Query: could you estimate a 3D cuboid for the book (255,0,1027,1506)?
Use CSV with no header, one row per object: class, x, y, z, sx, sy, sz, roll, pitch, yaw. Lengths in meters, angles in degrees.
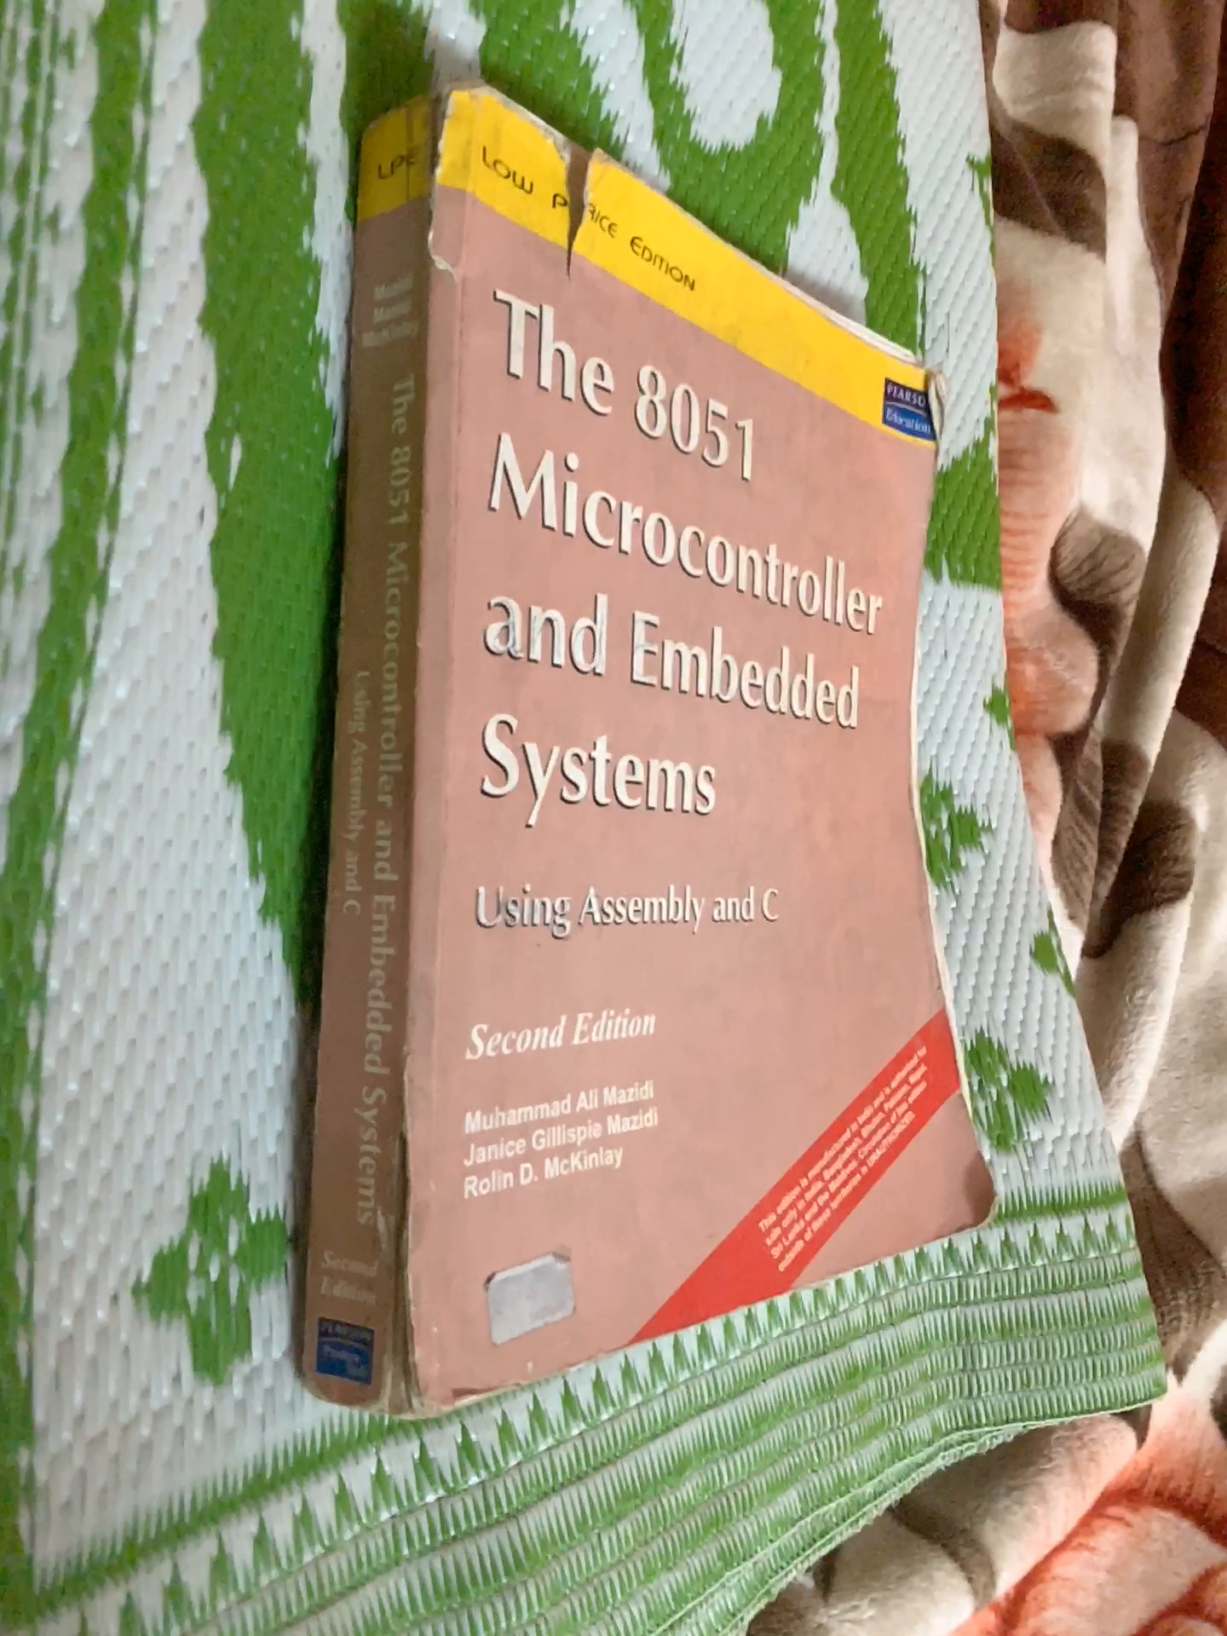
book,0.028,-0.017,0.338,0.231,0.050,0.300,4,87,-44
